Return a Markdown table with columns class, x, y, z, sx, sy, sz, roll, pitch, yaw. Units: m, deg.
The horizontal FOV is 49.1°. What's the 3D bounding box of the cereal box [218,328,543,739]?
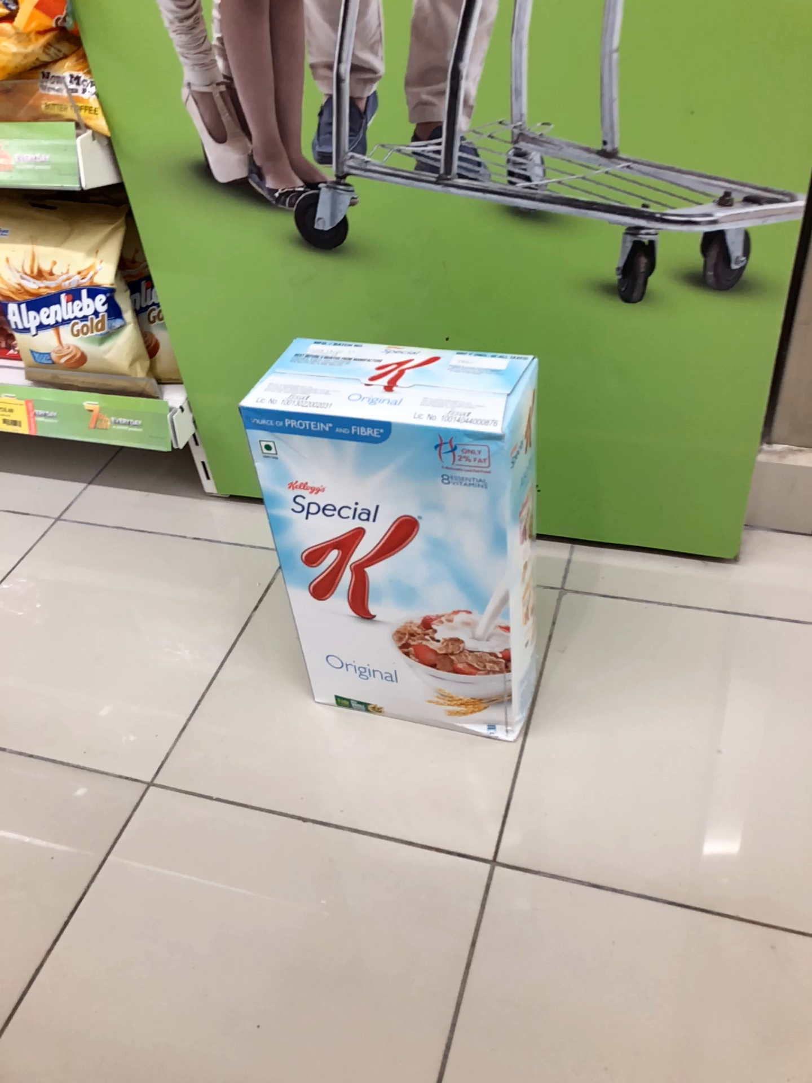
| class | x | y | z | sx | sy | sz | roll | pitch | yaw |
| --- | --- | --- | --- | --- | --- | --- | --- | --- | --- |
| cereal box | -0.001 | 0.002 | 0.702 | 0.200 | 0.308 | 0.101 | 8 | 43 | 17 |
